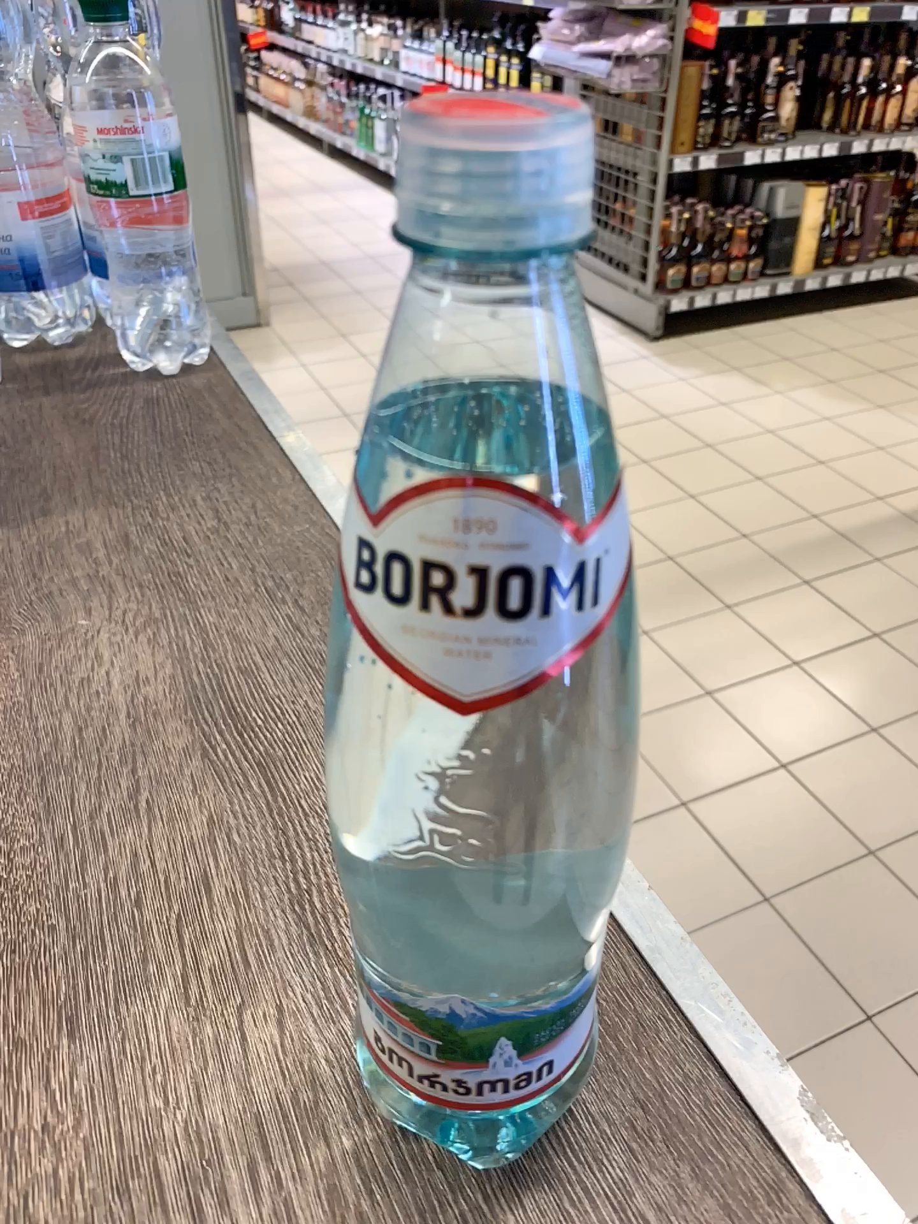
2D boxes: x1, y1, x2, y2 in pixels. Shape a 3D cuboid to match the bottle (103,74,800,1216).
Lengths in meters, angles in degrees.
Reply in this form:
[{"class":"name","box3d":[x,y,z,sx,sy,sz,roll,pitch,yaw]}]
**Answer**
[{"class":"bottle","box3d":[0.004,0.027,0.202,0.080,0.239,0.070,9,36,12]}]
